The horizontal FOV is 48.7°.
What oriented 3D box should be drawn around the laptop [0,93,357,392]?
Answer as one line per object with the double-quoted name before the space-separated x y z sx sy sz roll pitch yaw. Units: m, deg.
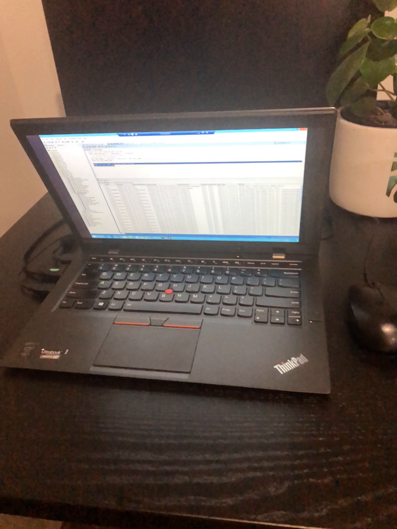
"laptop" -0.036 -0.044 0.476 0.340 0.214 0.245 1 31 11
